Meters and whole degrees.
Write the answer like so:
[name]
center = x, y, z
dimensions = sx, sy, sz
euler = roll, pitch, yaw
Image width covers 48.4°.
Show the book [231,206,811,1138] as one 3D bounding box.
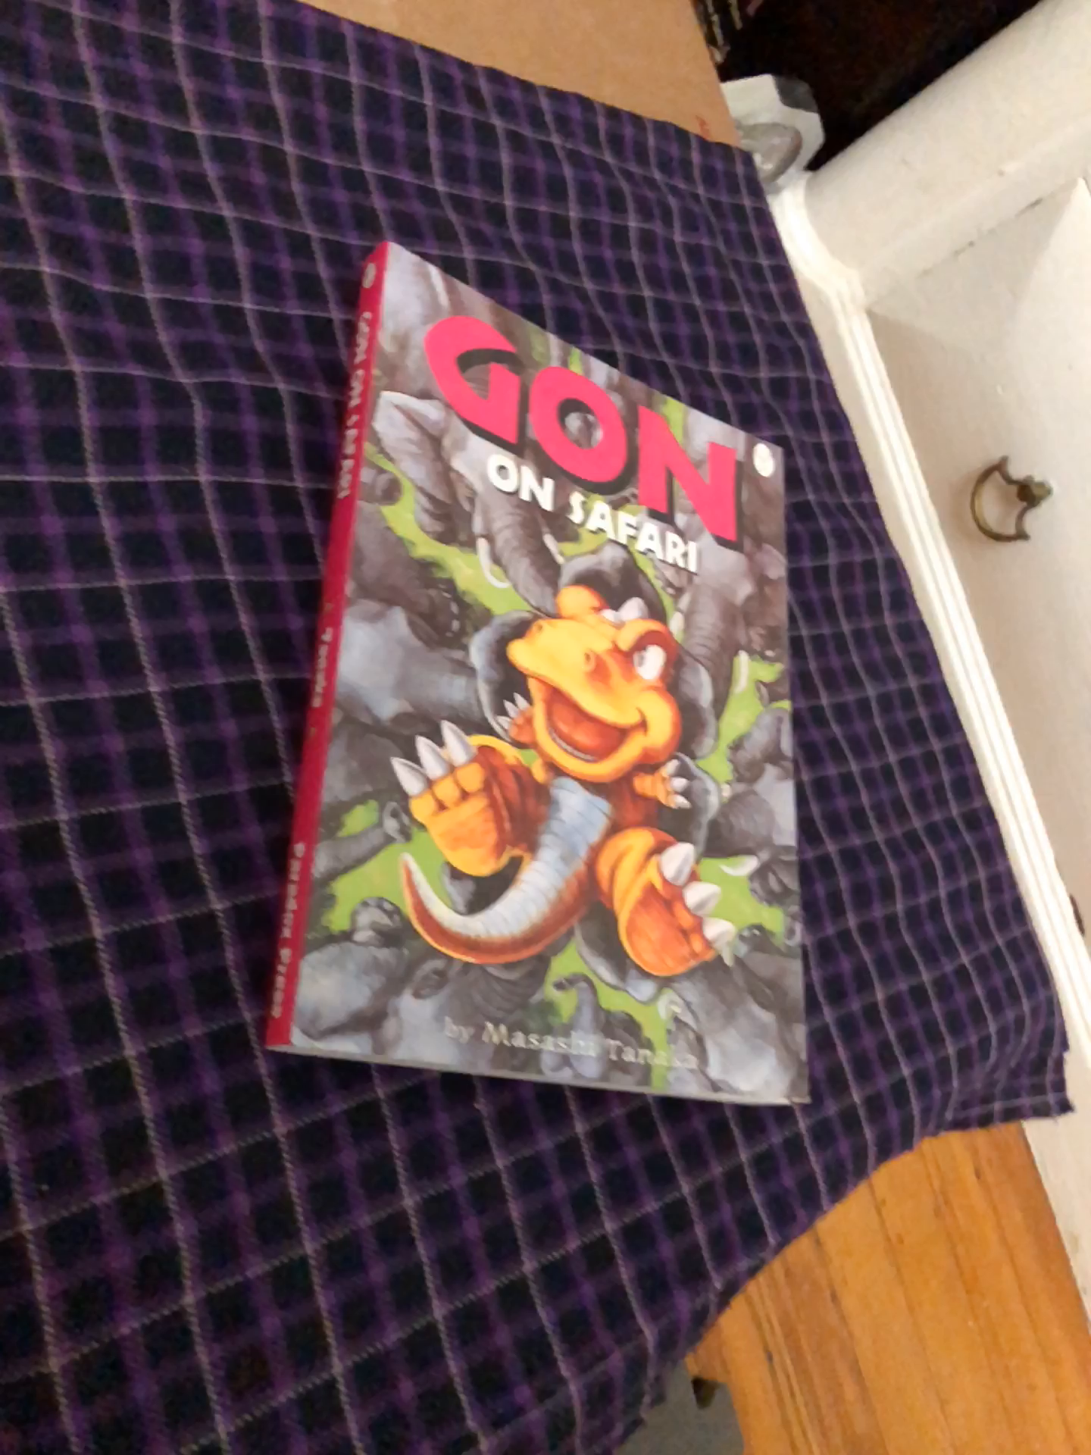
[book]
center = 0.008, -0.010, 0.314
dimensions = 0.150, 0.020, 0.210
euler = 19, 64, -34
